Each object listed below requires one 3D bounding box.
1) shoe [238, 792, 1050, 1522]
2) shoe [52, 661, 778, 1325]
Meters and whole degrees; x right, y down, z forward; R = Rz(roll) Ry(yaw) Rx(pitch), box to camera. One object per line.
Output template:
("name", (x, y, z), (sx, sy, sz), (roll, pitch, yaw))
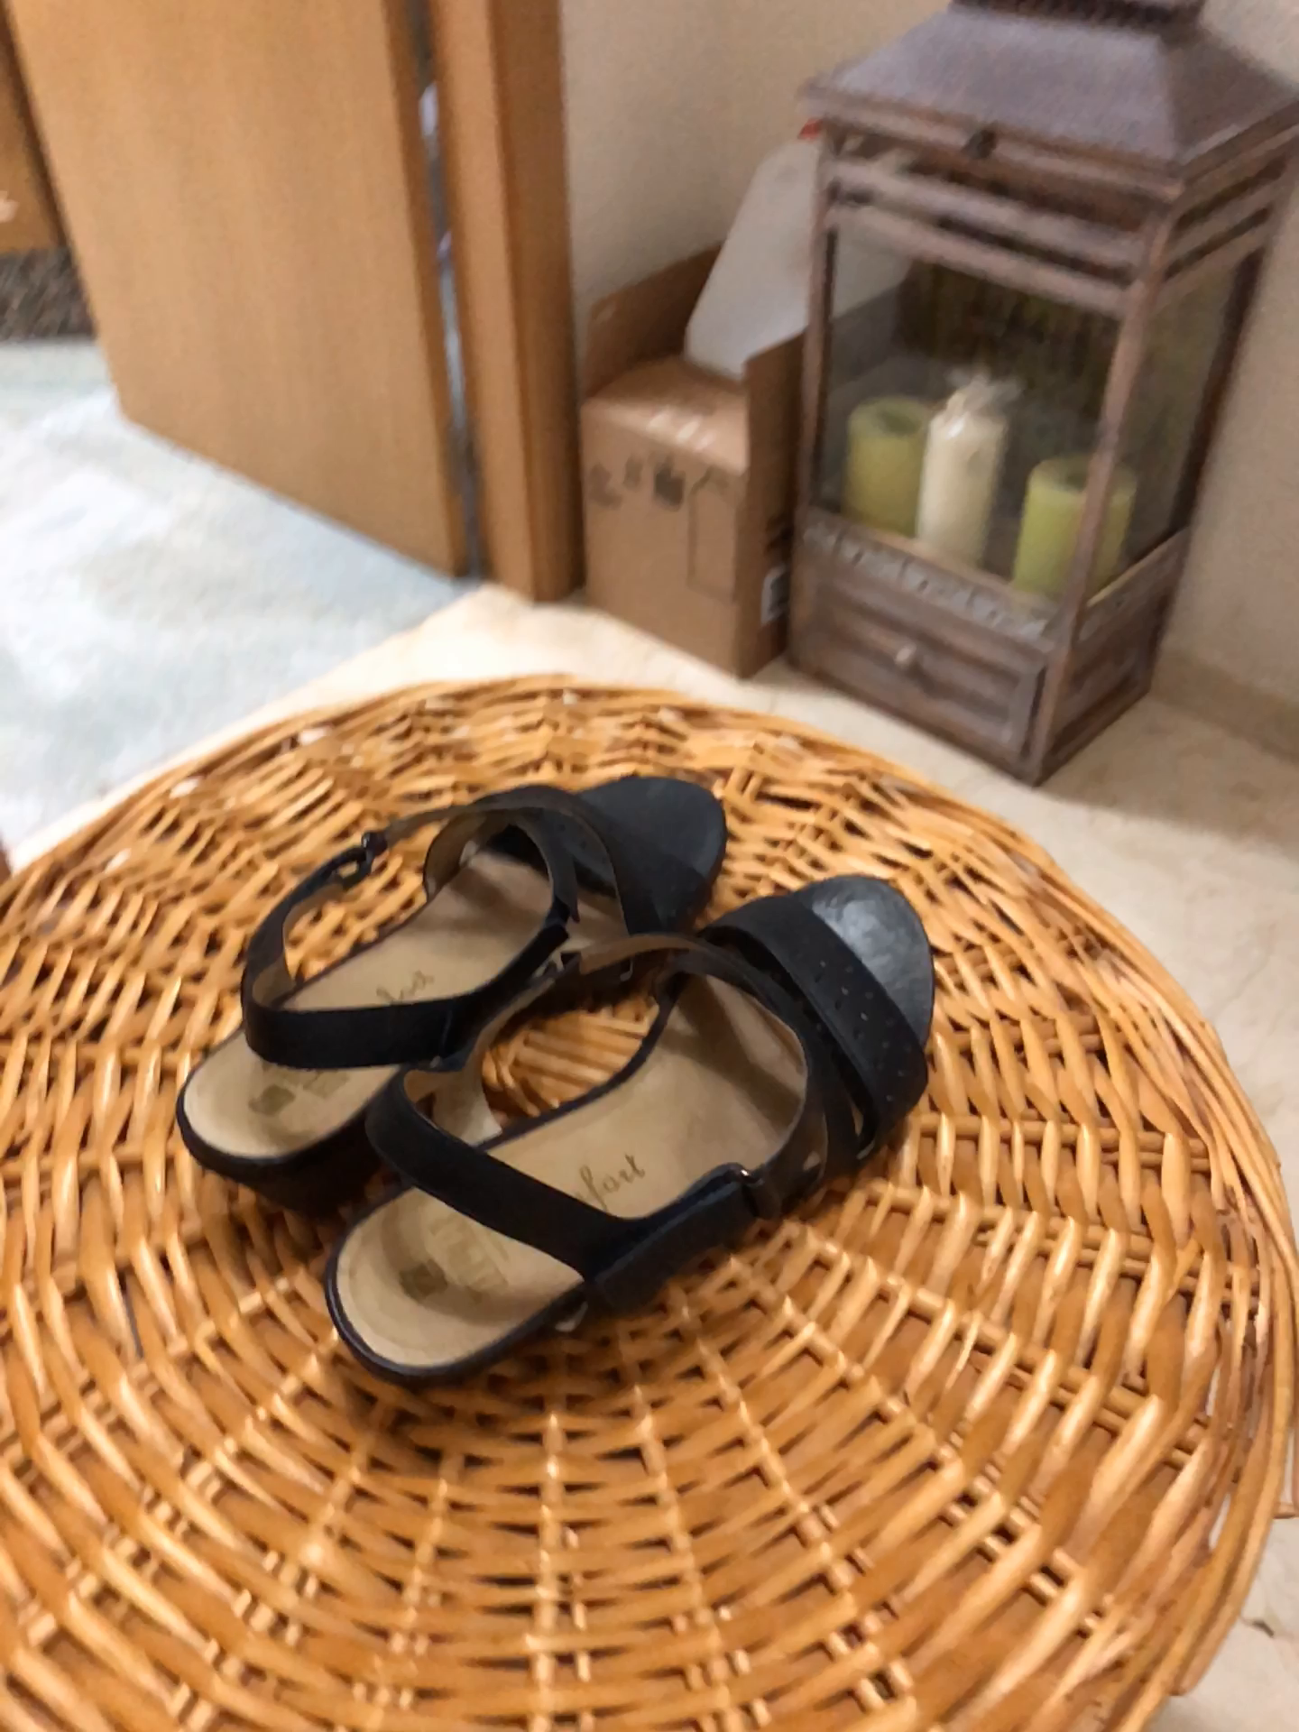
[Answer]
("shoe", (0.009, 0.073, 0.461), (0.100, 0.092, 0.247), (41, 41, 24))
("shoe", (-0.064, 0.026, 0.500), (0.090, 0.089, 0.248), (26, 41, 26))
